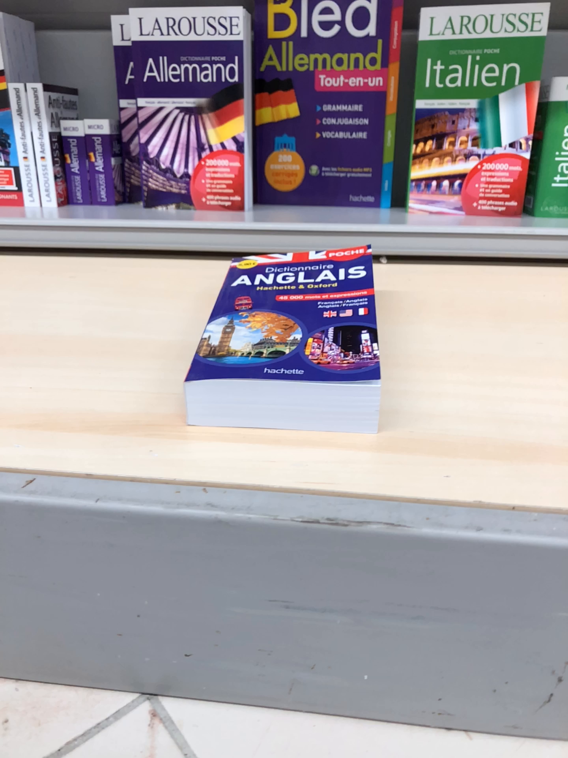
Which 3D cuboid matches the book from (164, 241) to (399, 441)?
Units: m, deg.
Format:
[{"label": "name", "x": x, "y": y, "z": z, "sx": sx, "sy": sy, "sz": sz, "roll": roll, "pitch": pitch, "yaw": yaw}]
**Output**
[{"label": "book", "x": 0.005, "y": -0.036, "z": 0.406, "sx": 0.119, "sy": 0.040, "sz": 0.188, "roll": 2, "pitch": 32, "yaw": 4}]
